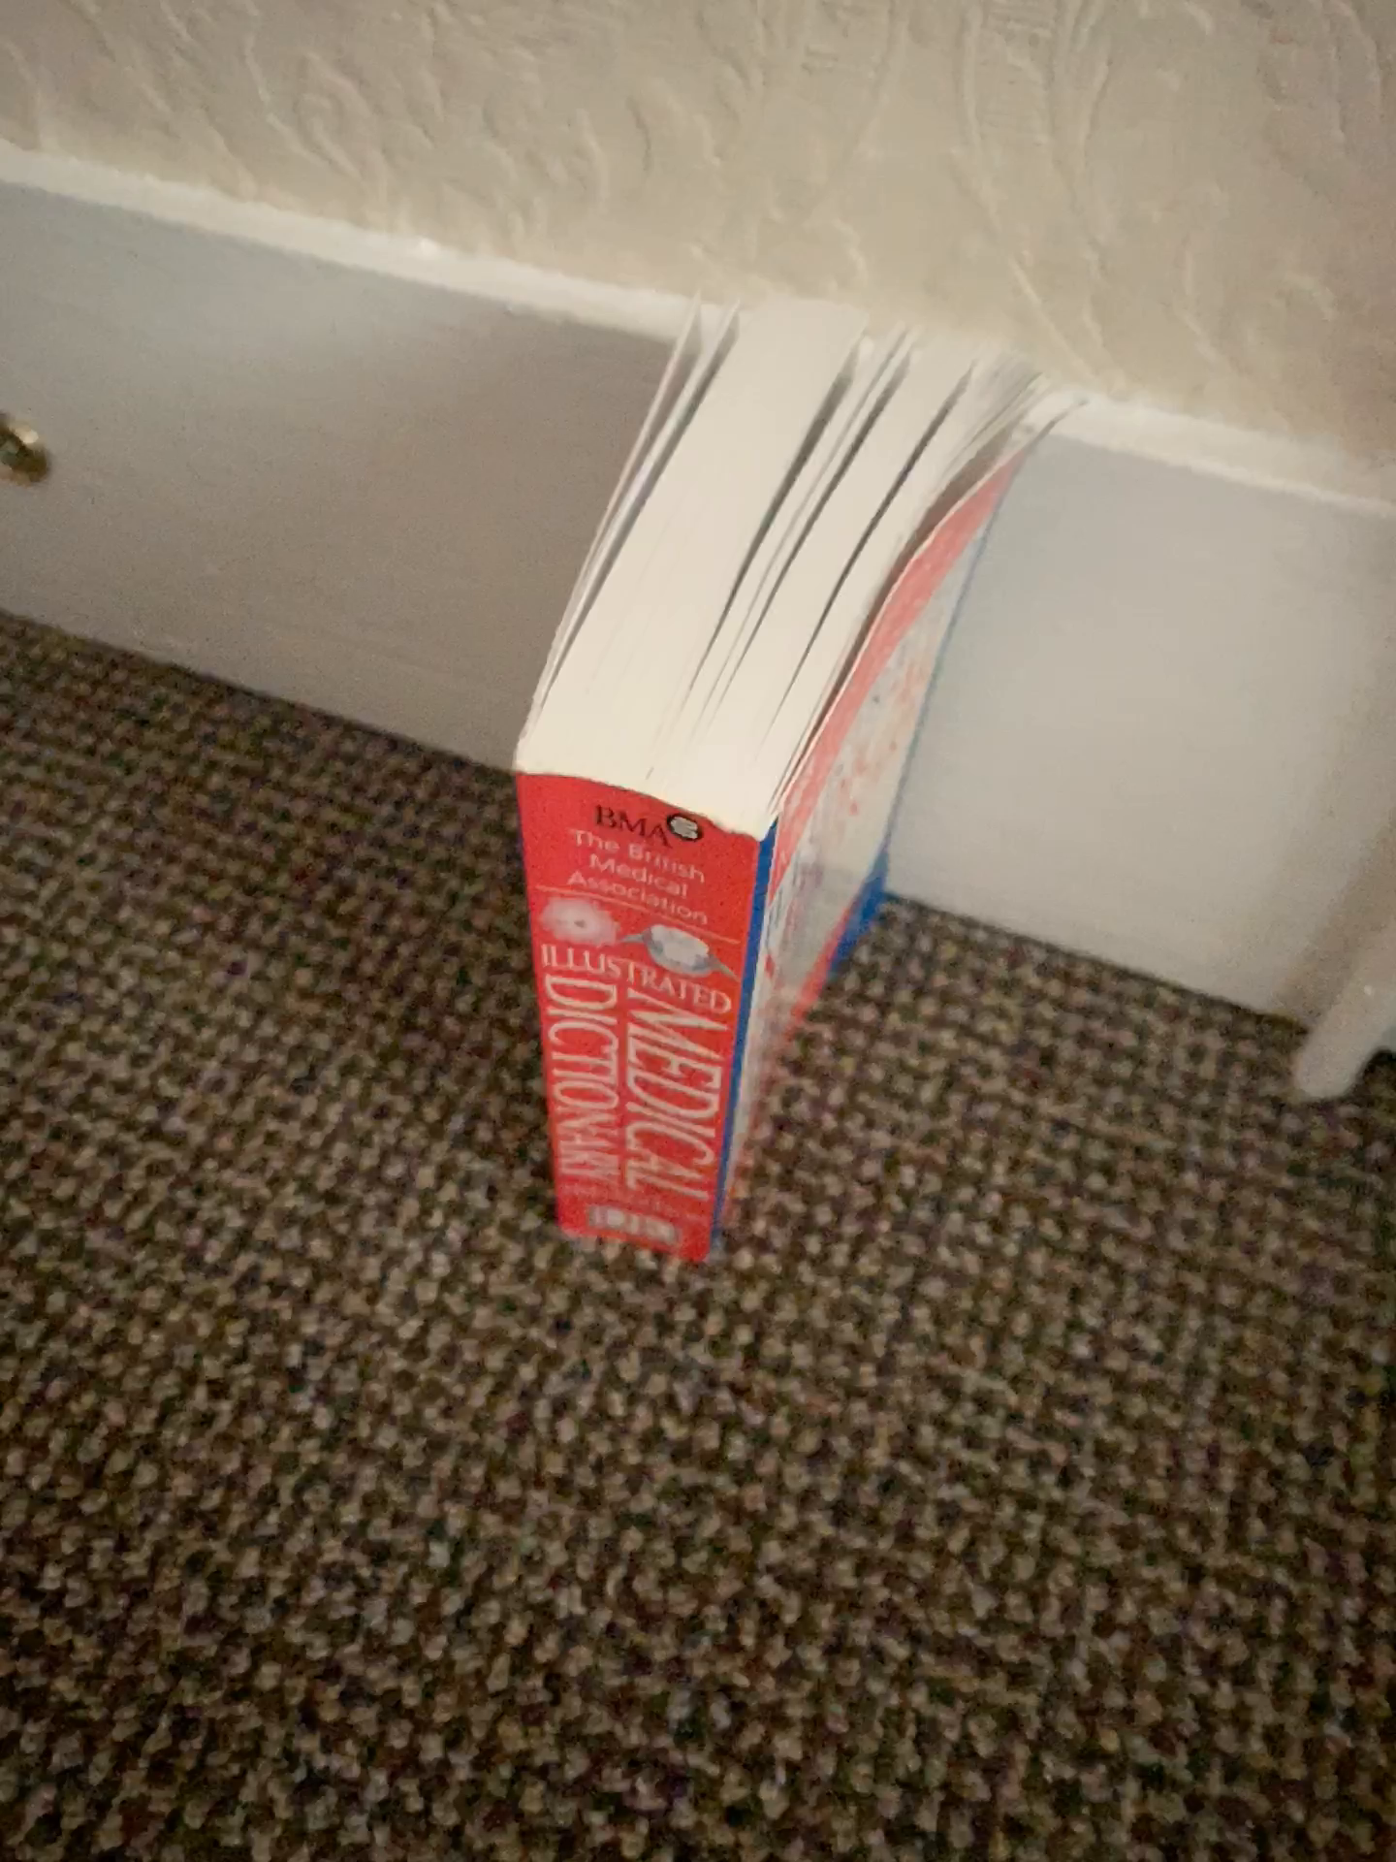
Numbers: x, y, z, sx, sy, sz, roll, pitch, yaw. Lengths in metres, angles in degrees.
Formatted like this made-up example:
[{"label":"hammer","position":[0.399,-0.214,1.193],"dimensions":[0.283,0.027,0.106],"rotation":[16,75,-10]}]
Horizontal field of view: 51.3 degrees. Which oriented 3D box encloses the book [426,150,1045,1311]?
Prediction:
[{"label":"book","position":[0.014,-0.040,0.356],"dimensions":[0.060,0.198,0.191],"rotation":[17,56,10]}]
